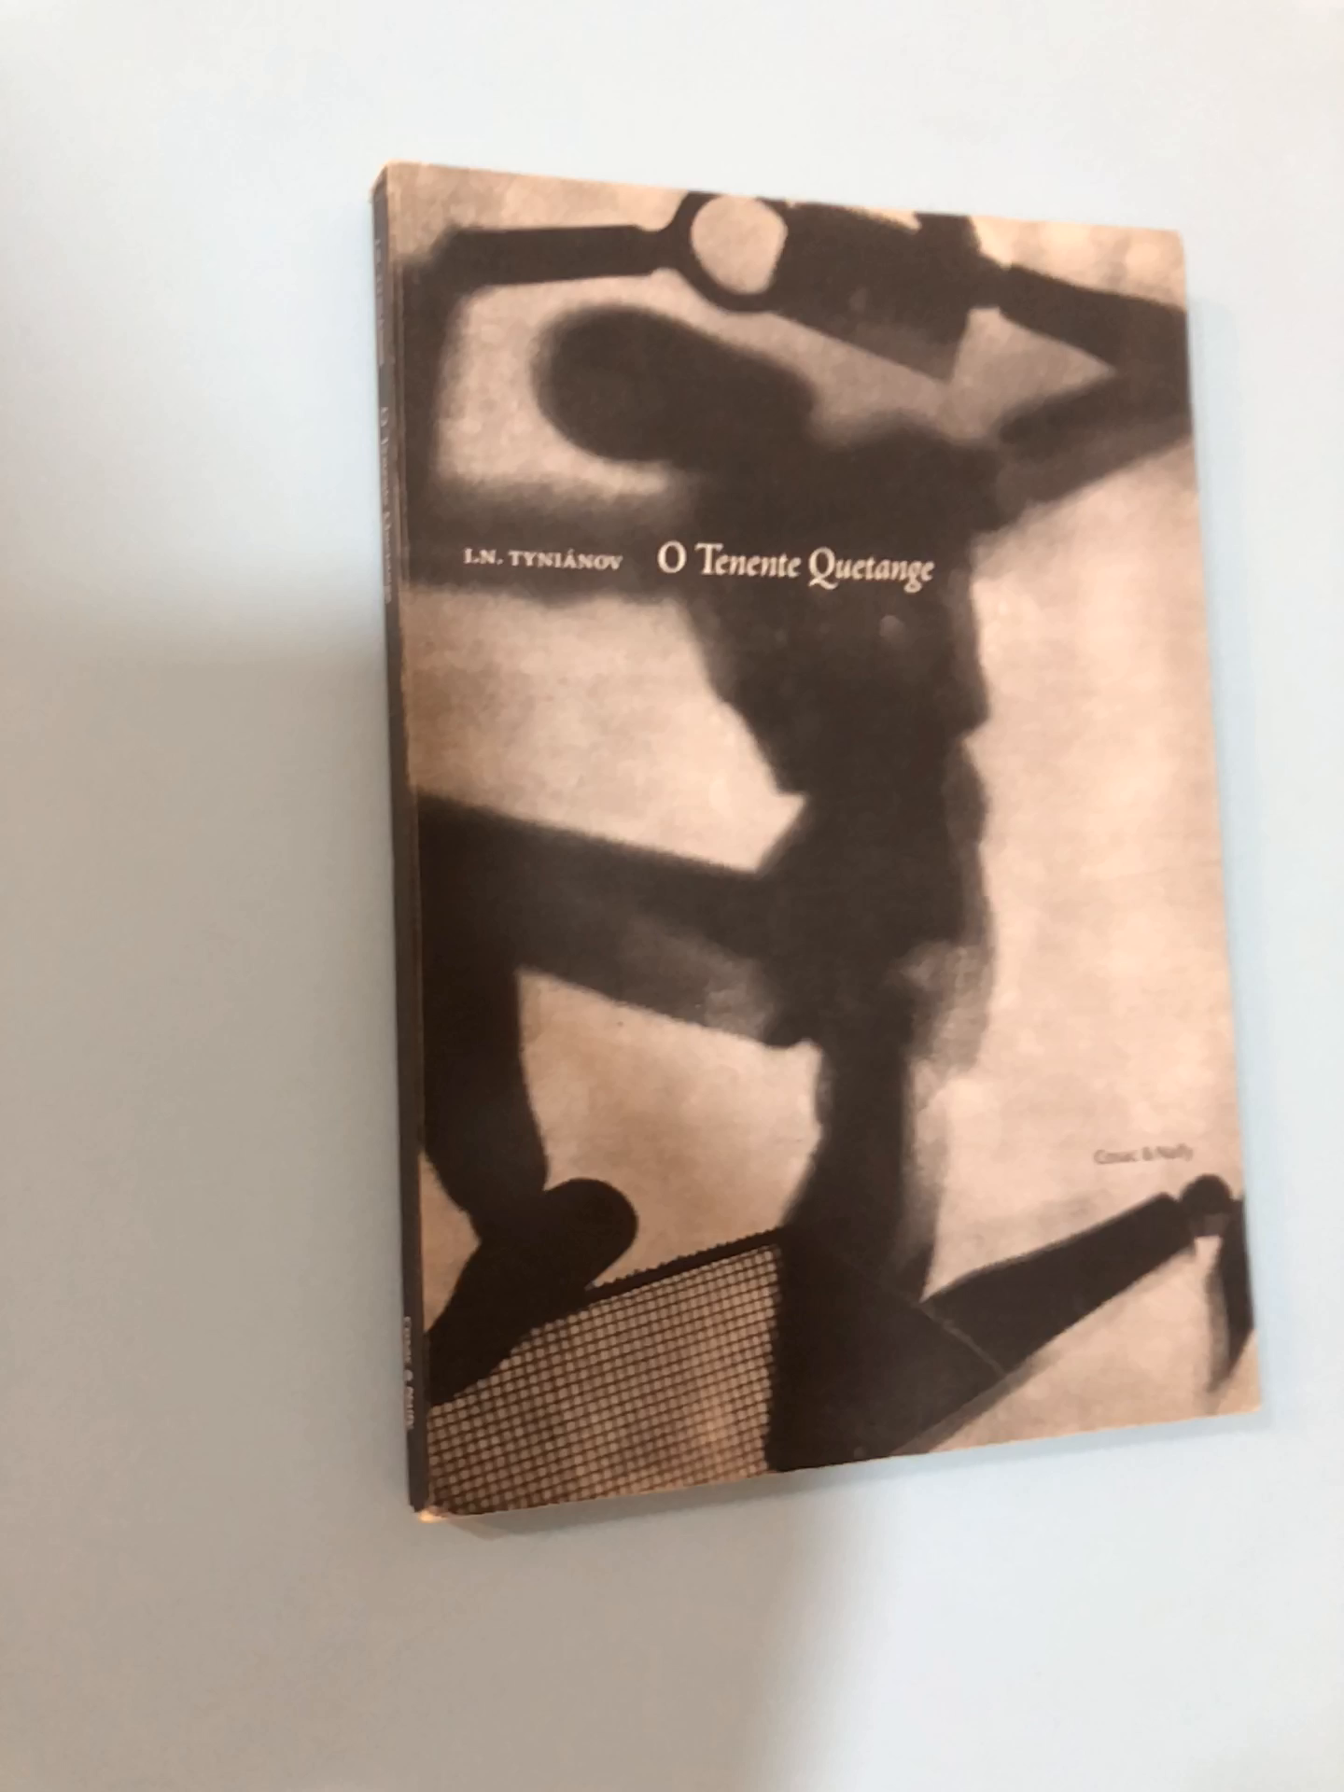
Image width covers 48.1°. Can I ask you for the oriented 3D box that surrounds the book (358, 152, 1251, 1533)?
[{"bbox_3d":[0.022,-0.011,0.238,0.134,0.016,0.196,-1,86,-15],"label":"book"}]
